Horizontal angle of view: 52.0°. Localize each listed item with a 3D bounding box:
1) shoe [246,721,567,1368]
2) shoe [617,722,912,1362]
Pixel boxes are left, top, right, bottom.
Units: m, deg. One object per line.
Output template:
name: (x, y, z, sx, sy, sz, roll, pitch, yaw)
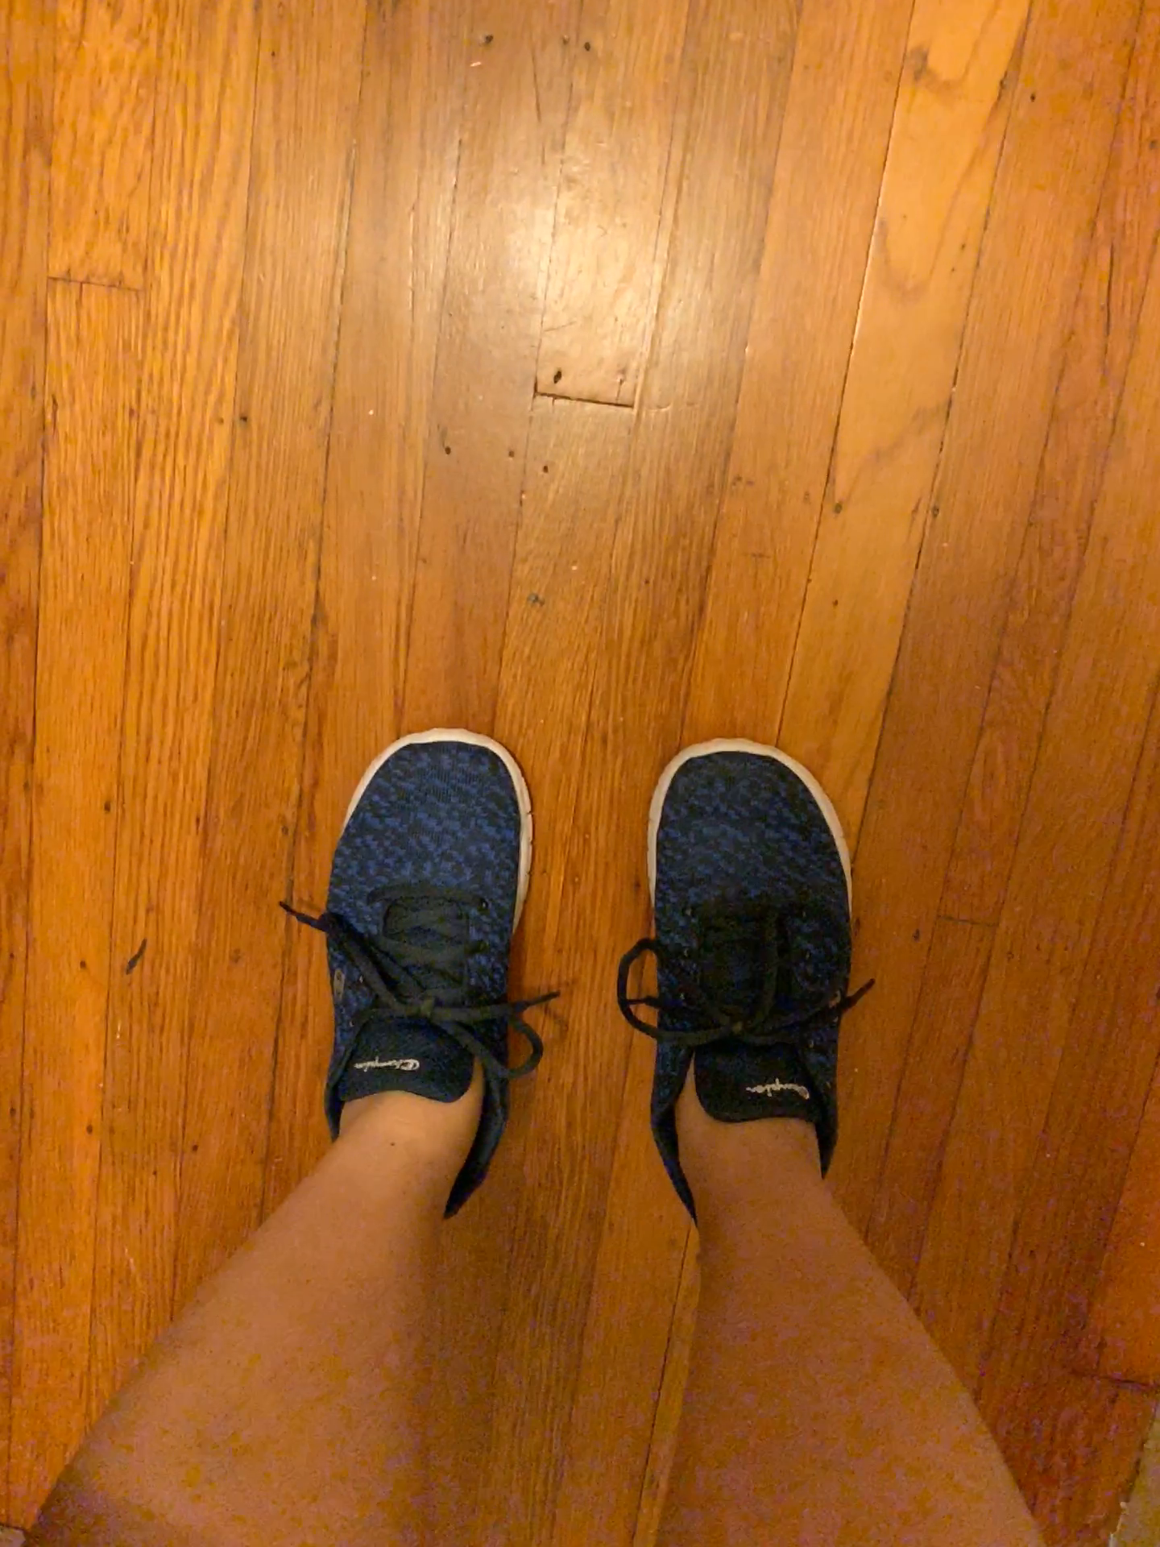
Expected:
shoe: (-0.077, 0.130, 0.620, 0.115, 0.150, 0.290, -1, 103, 5)
shoe: (0.091, 0.127, 0.595, 0.117, 0.130, 0.280, -4, 102, 6)
